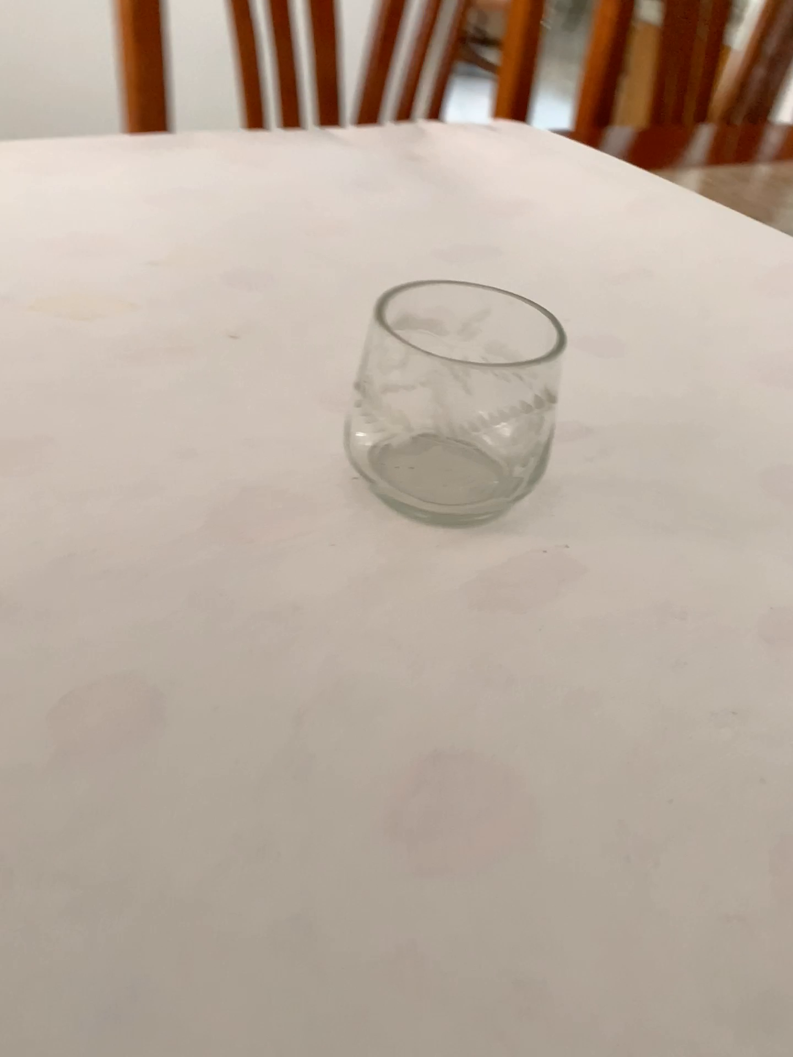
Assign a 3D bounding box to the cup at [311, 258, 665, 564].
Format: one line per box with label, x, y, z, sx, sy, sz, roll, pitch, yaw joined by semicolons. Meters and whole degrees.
cup;0.026;-0.045;0.283;0.080;0.060;0.080;6;39;-4
